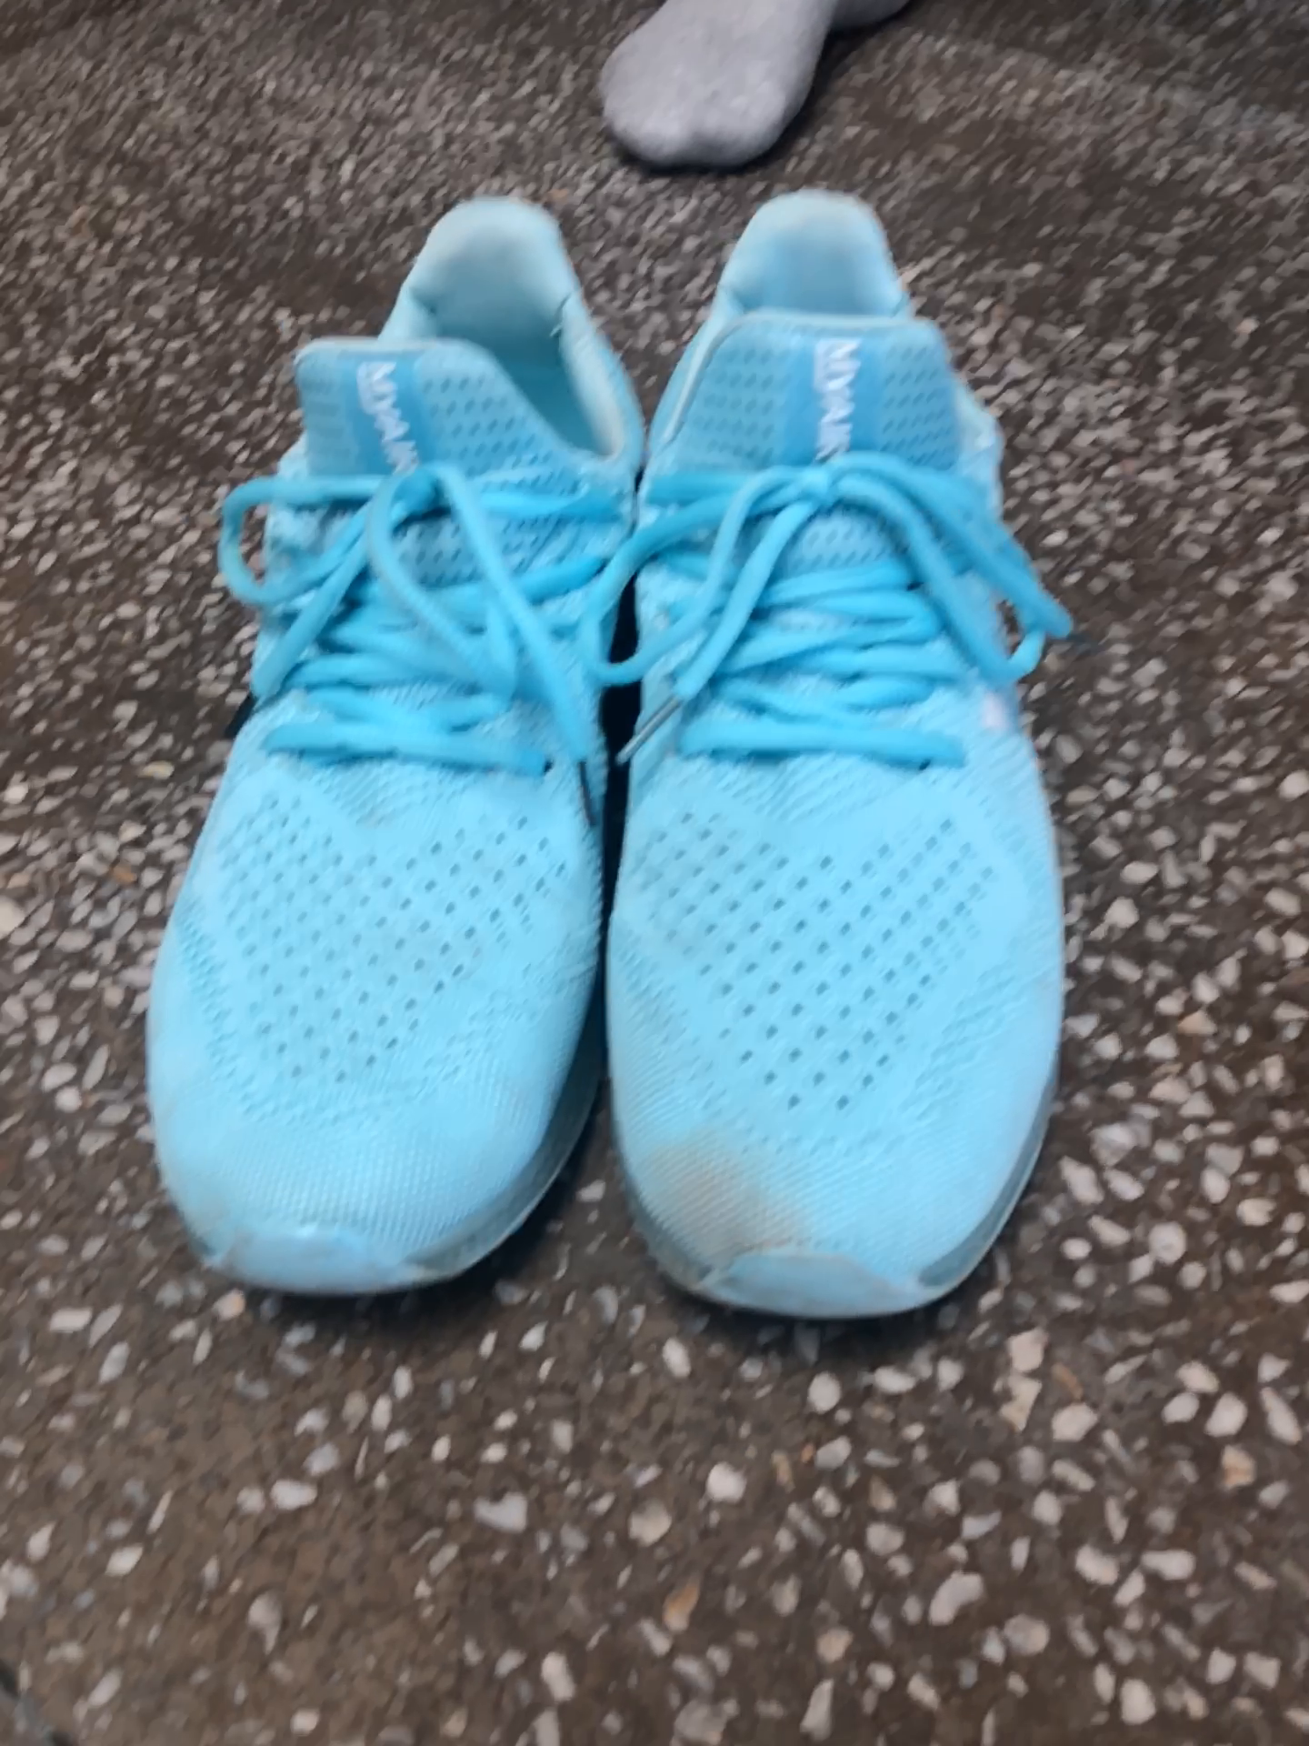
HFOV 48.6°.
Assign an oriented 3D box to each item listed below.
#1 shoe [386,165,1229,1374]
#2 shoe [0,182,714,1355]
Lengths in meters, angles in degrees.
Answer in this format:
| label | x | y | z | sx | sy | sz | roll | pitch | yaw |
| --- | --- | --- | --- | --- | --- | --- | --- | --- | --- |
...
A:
| label | x | y | z | sx | sy | sz | roll | pitch | yaw |
| --- | --- | --- | --- | --- | --- | --- | --- | --- | --- |
| shoe | 0.036 | -0.043 | 0.343 | 0.120 | 0.125 | 0.271 | 1 | 49 | 6 |
| shoe | -0.060 | -0.044 | 0.354 | 0.120 | 0.125 | 0.271 | 3 | 49 | 7 |
